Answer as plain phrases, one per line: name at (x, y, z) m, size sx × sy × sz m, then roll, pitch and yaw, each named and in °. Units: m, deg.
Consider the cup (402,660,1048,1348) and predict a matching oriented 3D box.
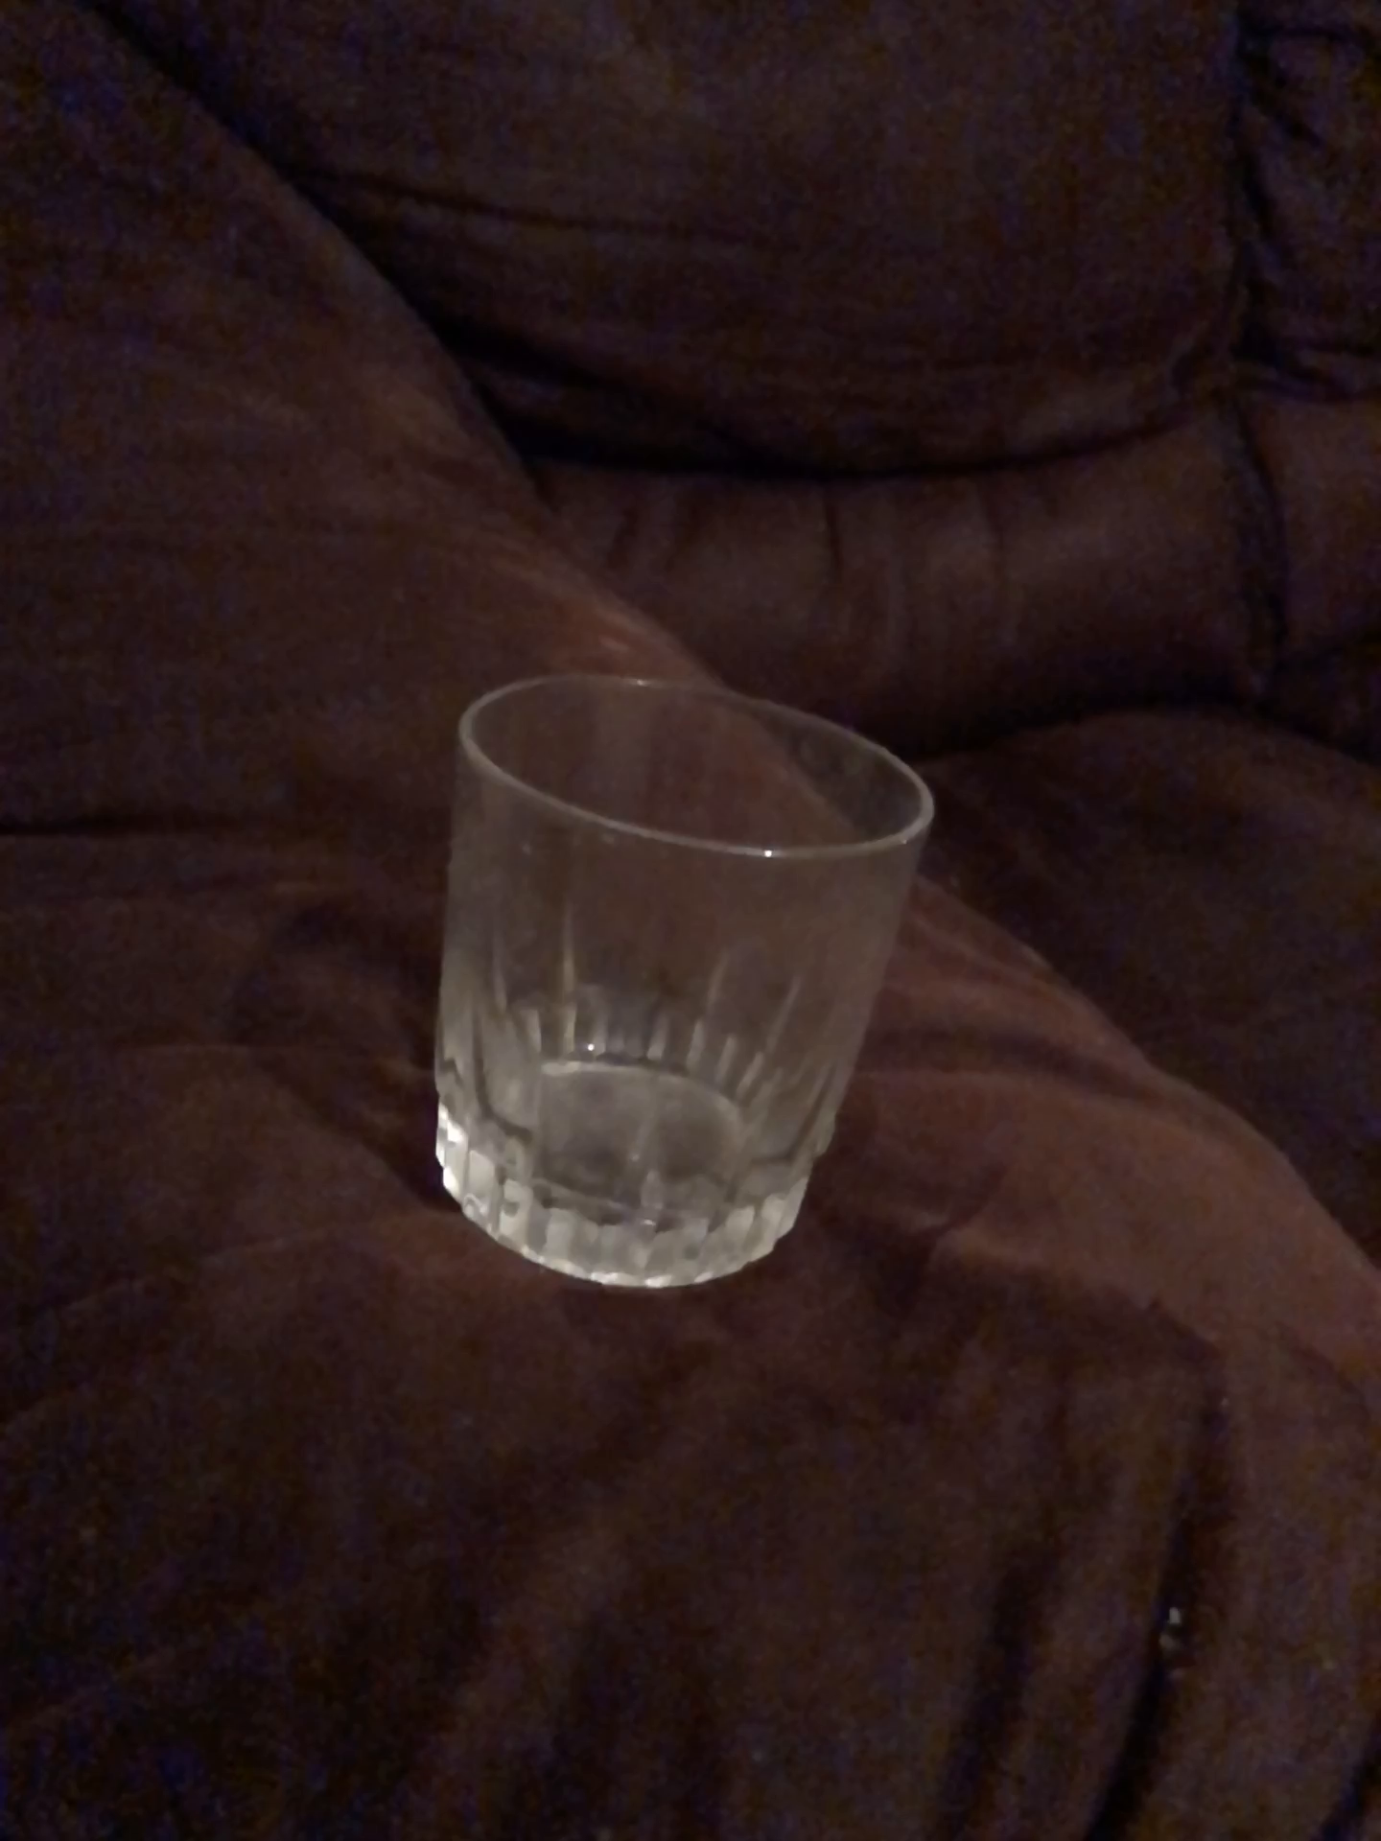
cup at (-0.004, 0.012, 0.269) m, size 0.086 × 0.086 × 0.087 m, roll 8°, pitch 23°, yaw -3°
